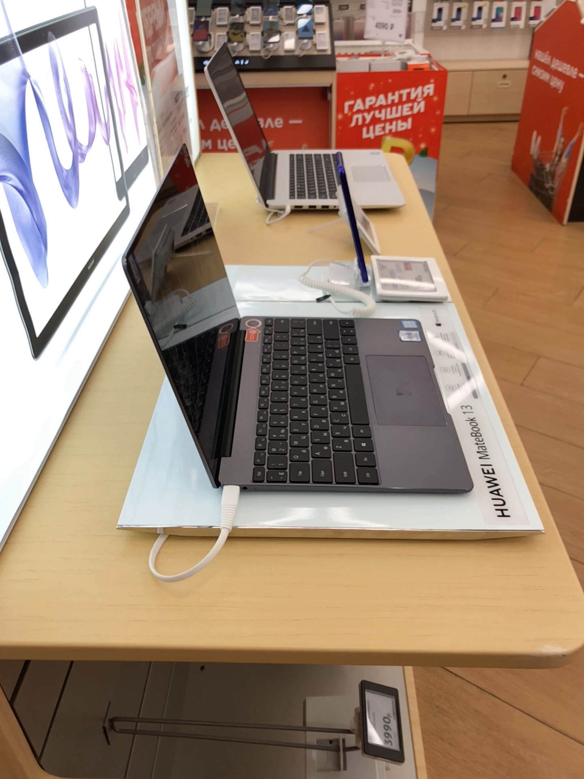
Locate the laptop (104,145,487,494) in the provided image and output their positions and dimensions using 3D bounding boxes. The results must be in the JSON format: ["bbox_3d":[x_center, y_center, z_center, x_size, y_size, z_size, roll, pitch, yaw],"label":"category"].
[{"bbox_3d":[0.005,-0.079,0.575,0.244,0.192,0.276,1,35,0],"label":"laptop"}]
